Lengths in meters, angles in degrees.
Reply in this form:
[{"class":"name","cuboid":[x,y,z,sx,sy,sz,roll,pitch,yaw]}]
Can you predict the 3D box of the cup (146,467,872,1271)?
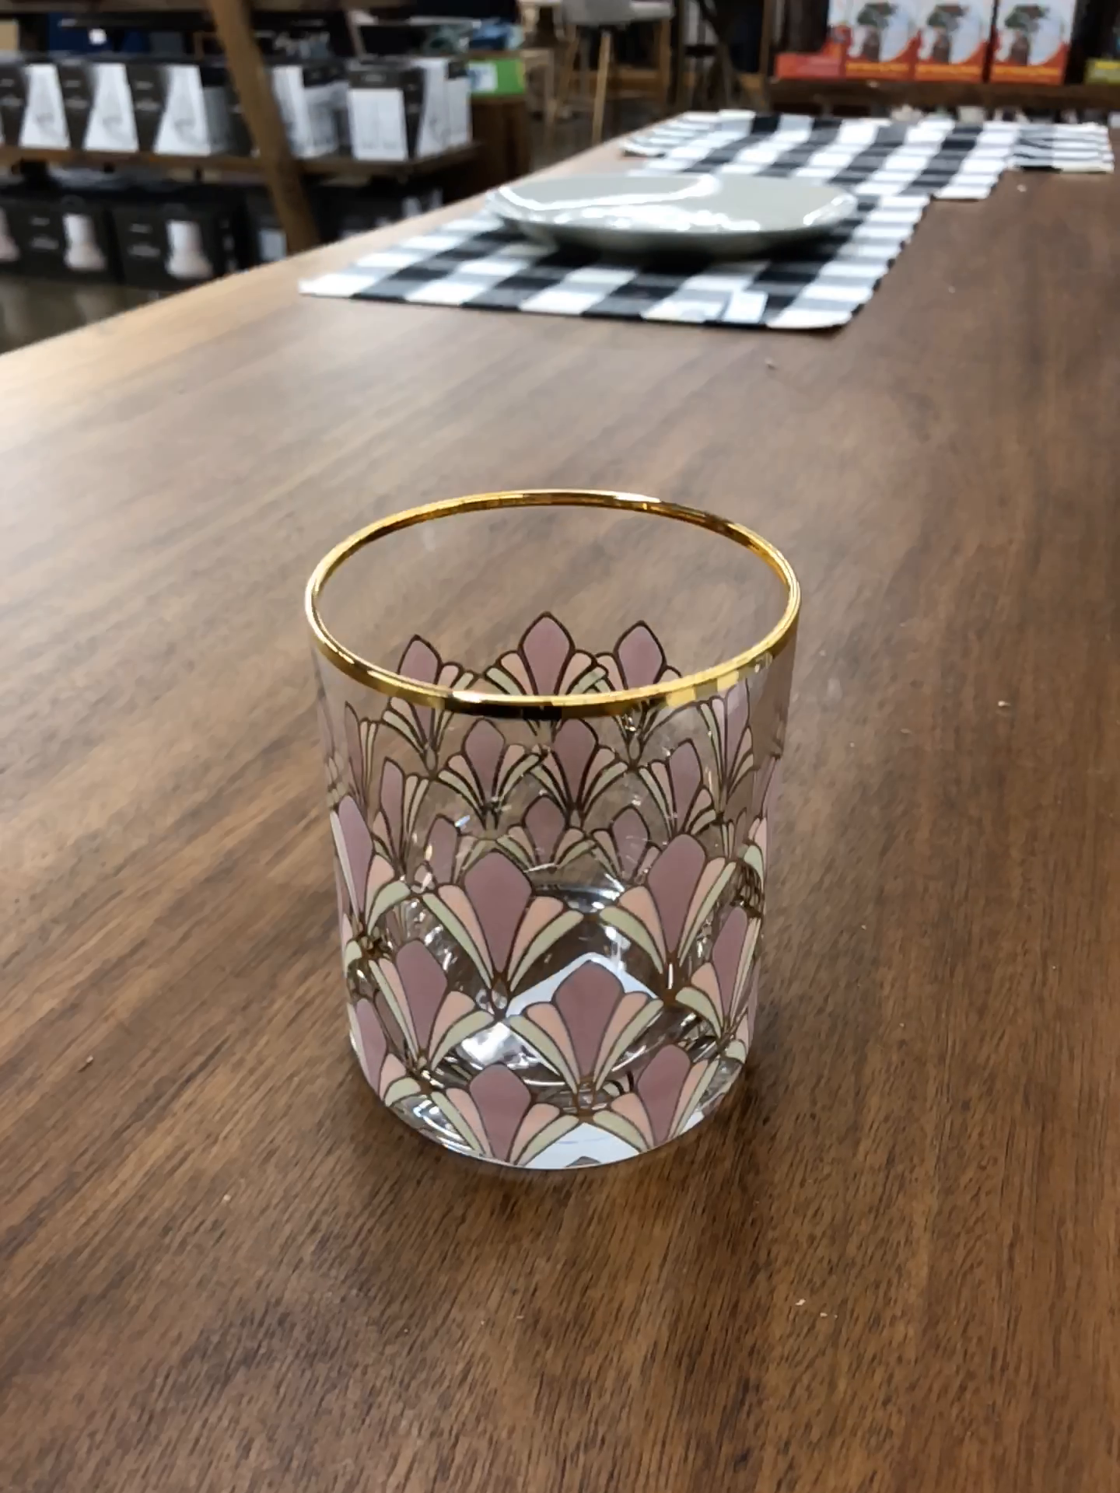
[{"class":"cup","cuboid":[-0.003,0.014,0.216,0.083,0.090,0.080,0,31,0]}]
